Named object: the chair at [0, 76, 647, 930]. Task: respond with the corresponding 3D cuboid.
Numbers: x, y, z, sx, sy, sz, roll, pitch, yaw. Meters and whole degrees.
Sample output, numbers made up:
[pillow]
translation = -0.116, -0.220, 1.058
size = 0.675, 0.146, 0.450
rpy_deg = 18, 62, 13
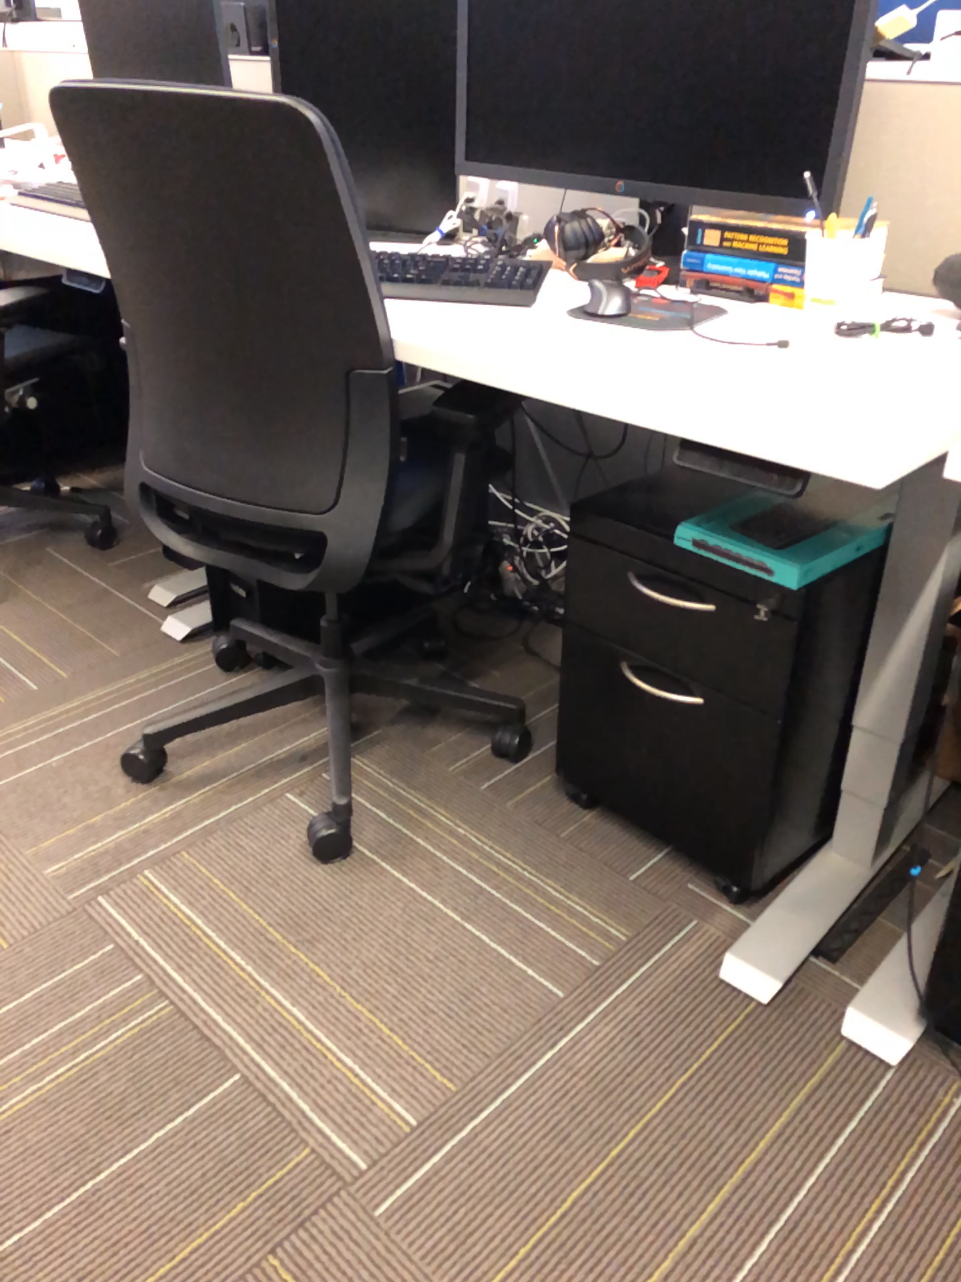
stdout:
[chair]
translation = -0.262, -0.294, 1.658
size = 0.711, 1.044, 0.723
rpy_deg = 19, 34, 29
